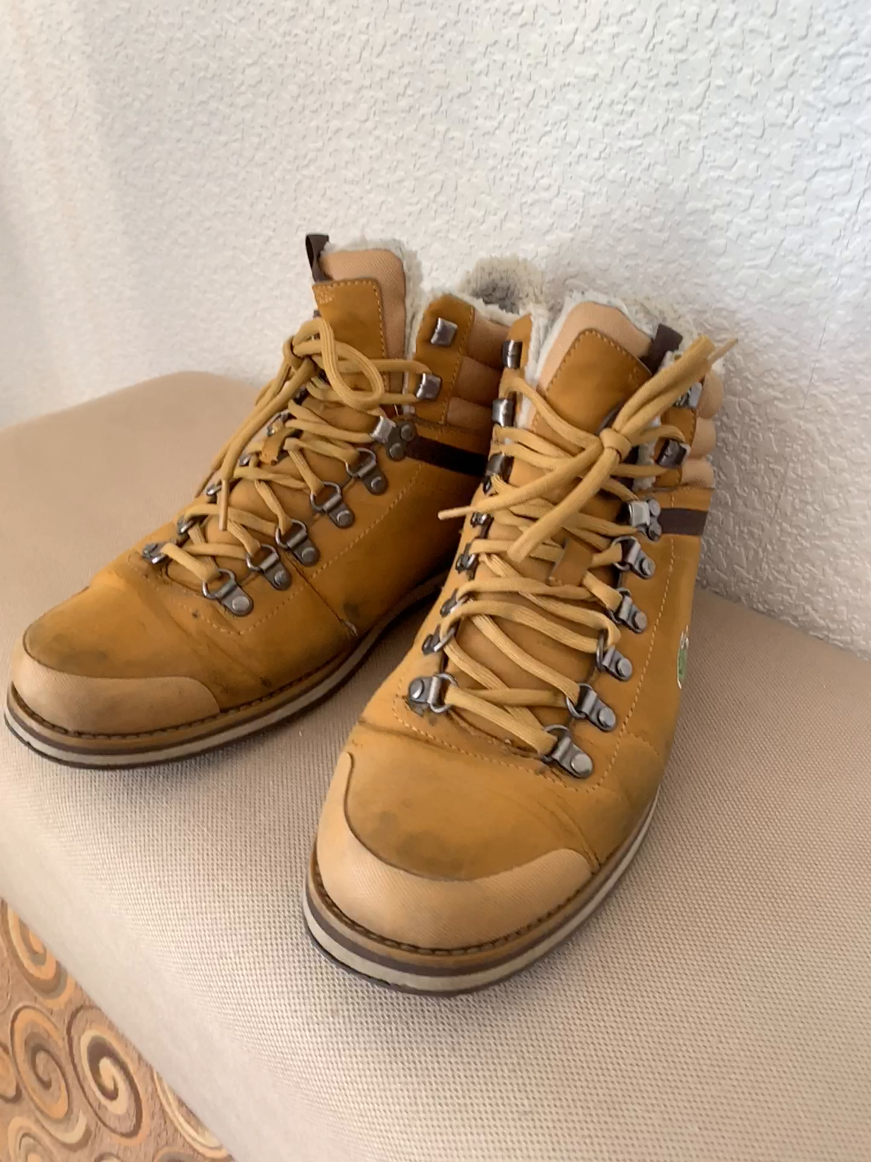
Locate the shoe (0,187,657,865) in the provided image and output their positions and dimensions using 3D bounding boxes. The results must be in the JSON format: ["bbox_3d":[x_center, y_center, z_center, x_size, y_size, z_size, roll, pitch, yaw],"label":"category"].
[{"bbox_3d":[-0.051,-0.052,0.386,0.120,0.149,0.301,31,46,33],"label":"shoe"}]

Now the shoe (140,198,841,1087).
[{"bbox_3d":[0.052,-0.016,0.335,0.120,0.149,0.301,16,42,20],"label":"shoe"}]
